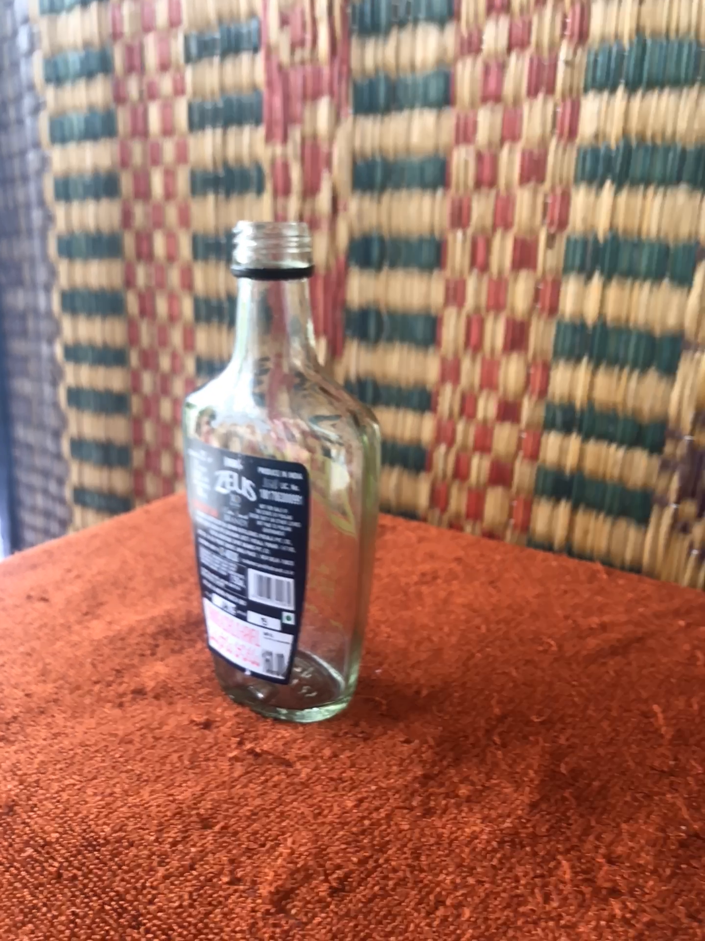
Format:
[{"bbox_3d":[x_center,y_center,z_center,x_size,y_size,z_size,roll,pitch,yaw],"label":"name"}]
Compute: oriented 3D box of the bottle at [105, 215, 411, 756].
[{"bbox_3d":[-0.026,0.000,0.247,0.080,0.149,0.040,13,24,36],"label":"bottle"}]
